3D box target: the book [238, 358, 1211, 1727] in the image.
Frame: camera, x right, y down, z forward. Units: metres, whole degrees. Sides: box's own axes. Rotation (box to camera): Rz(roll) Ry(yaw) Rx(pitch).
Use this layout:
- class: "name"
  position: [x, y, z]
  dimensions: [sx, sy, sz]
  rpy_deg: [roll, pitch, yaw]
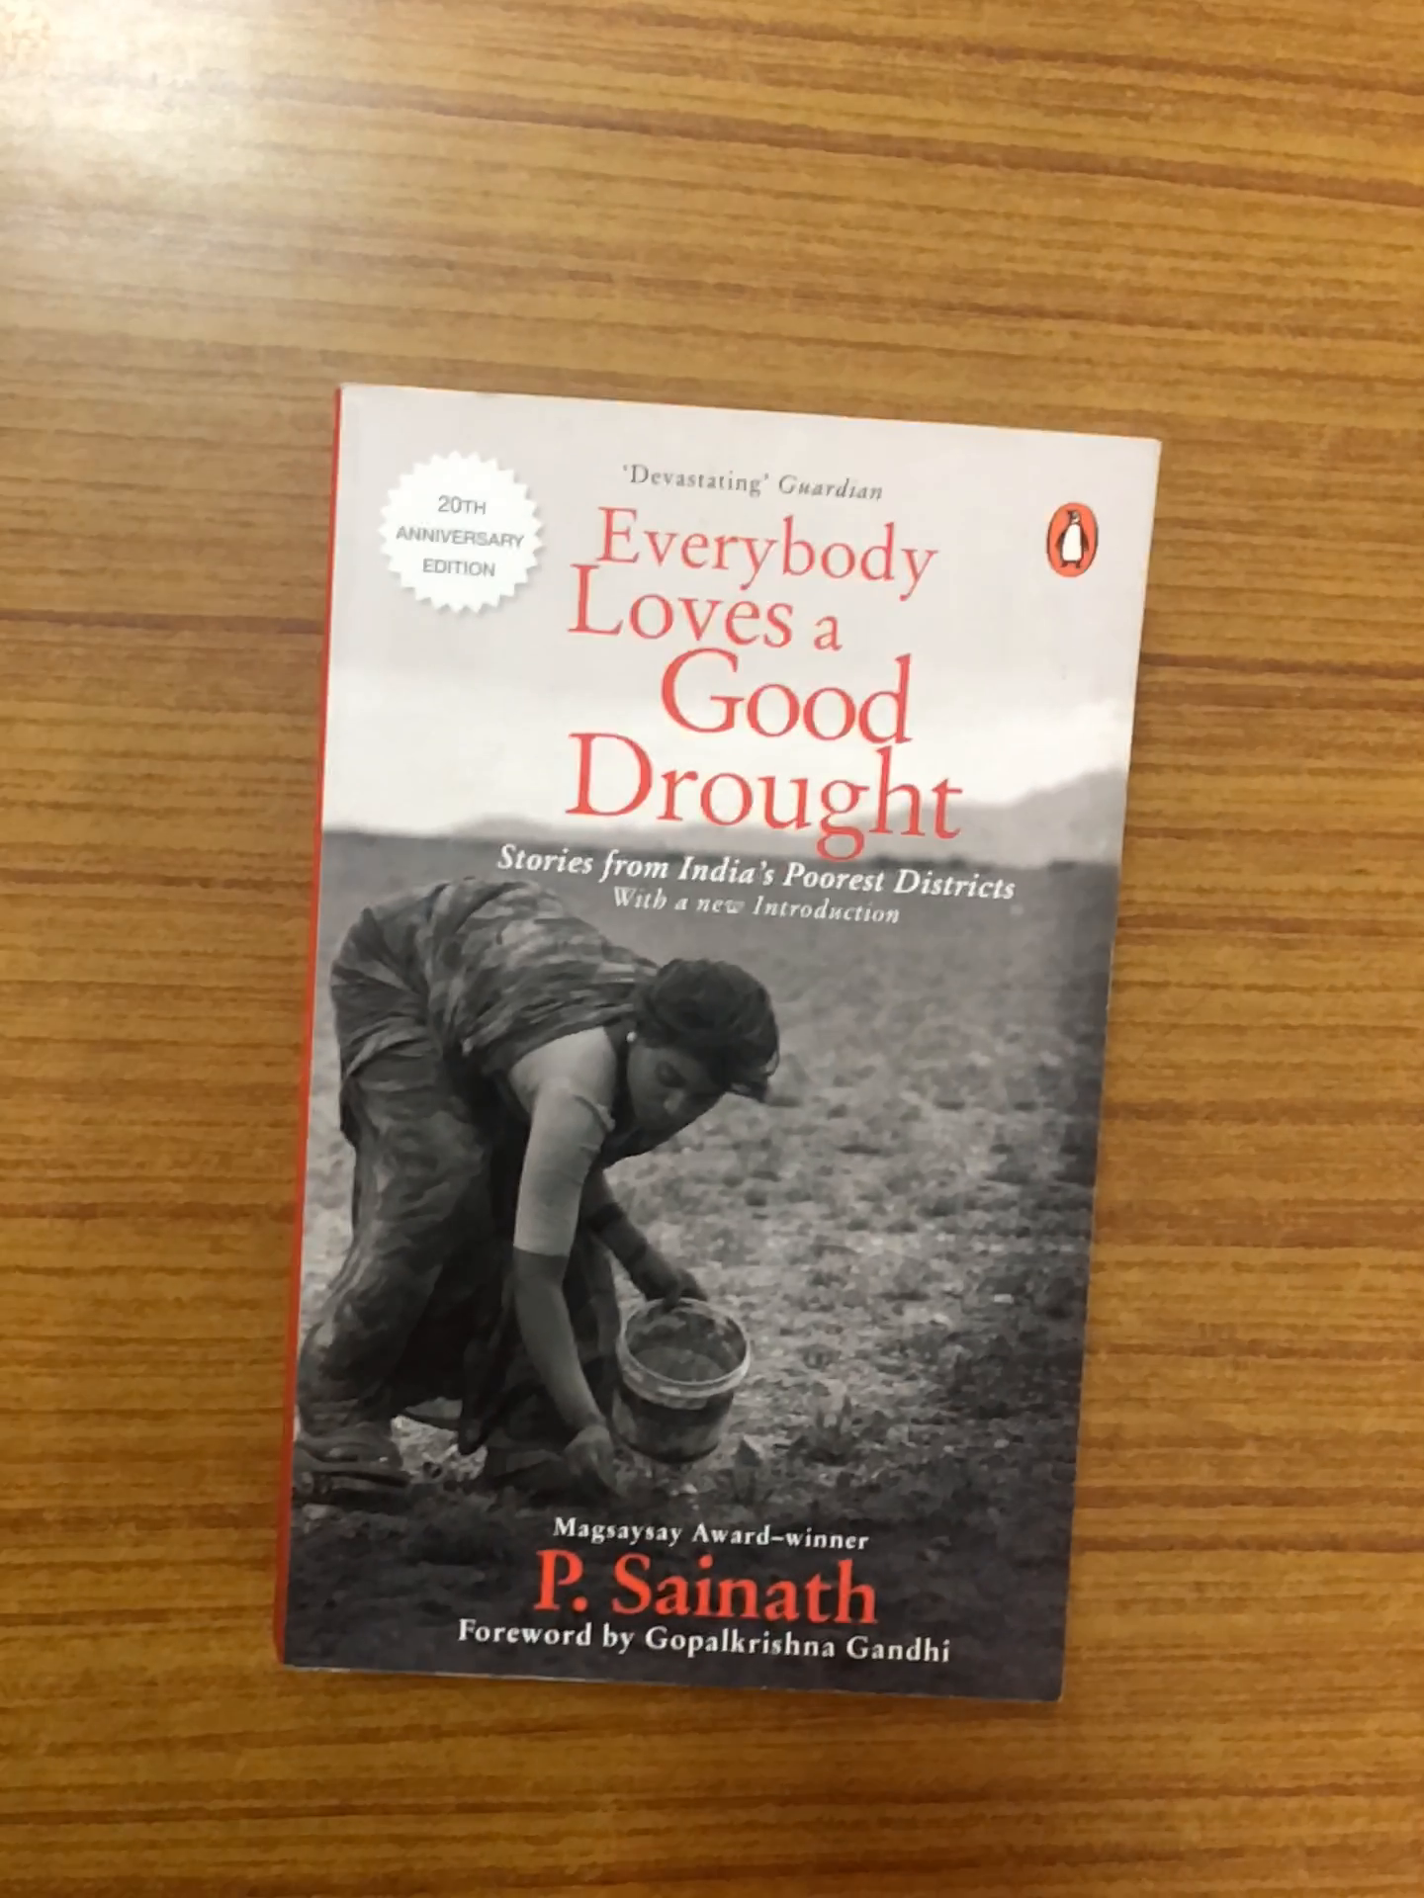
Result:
- class: "book"
  position: [0.000, 0.019, 0.270]
  dimensions: [0.140, 0.040, 0.210]
  rpy_deg: [3, 94, -5]
